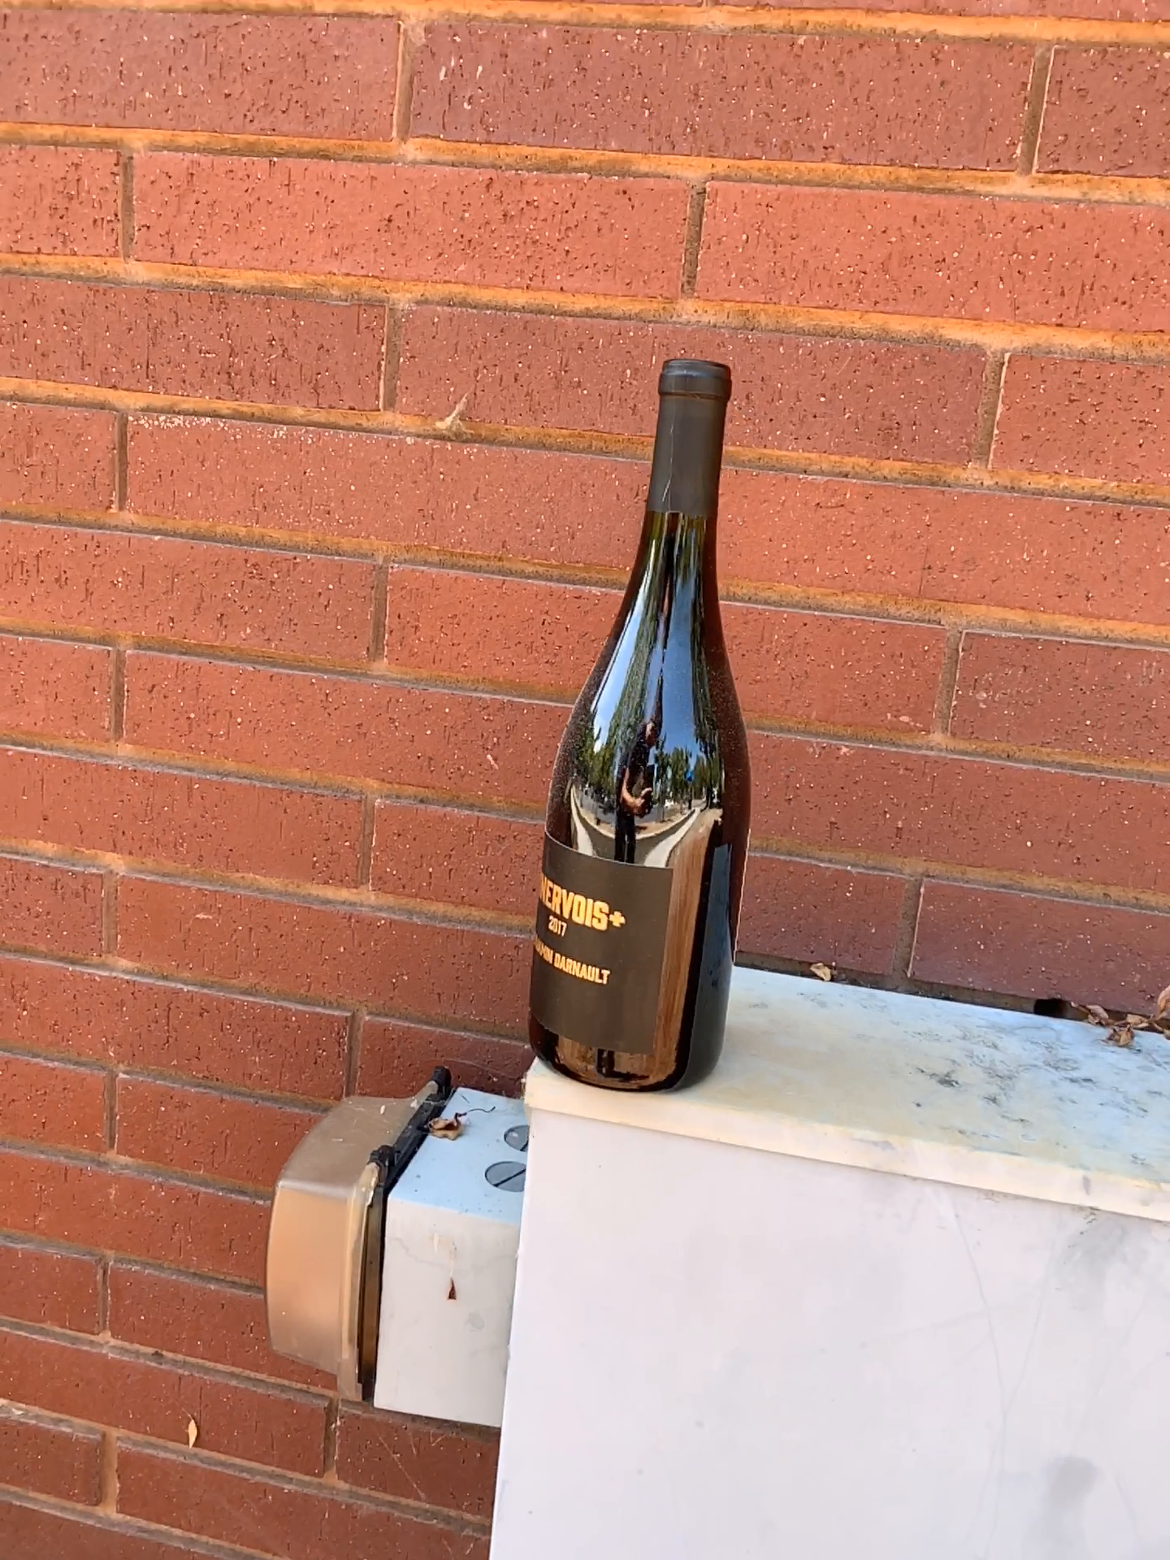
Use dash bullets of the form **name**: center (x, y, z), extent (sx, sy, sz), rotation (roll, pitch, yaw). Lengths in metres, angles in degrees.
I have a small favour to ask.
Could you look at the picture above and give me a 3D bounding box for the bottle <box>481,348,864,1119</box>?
- **bottle**: center (0.031, -0.021, 0.504), extent (0.090, 0.289, 0.090), rotation (6, 12, -1)
